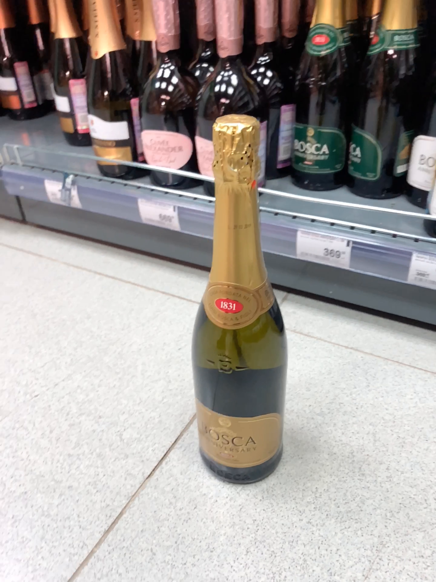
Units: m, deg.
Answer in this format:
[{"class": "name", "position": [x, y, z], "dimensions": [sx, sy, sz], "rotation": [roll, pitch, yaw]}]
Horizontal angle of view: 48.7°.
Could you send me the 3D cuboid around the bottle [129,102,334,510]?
[{"class": "bottle", "position": [0.019, 0.024, 0.394], "dimensions": [0.100, 0.314, 0.100], "rotation": [-2, 33, 1]}]
